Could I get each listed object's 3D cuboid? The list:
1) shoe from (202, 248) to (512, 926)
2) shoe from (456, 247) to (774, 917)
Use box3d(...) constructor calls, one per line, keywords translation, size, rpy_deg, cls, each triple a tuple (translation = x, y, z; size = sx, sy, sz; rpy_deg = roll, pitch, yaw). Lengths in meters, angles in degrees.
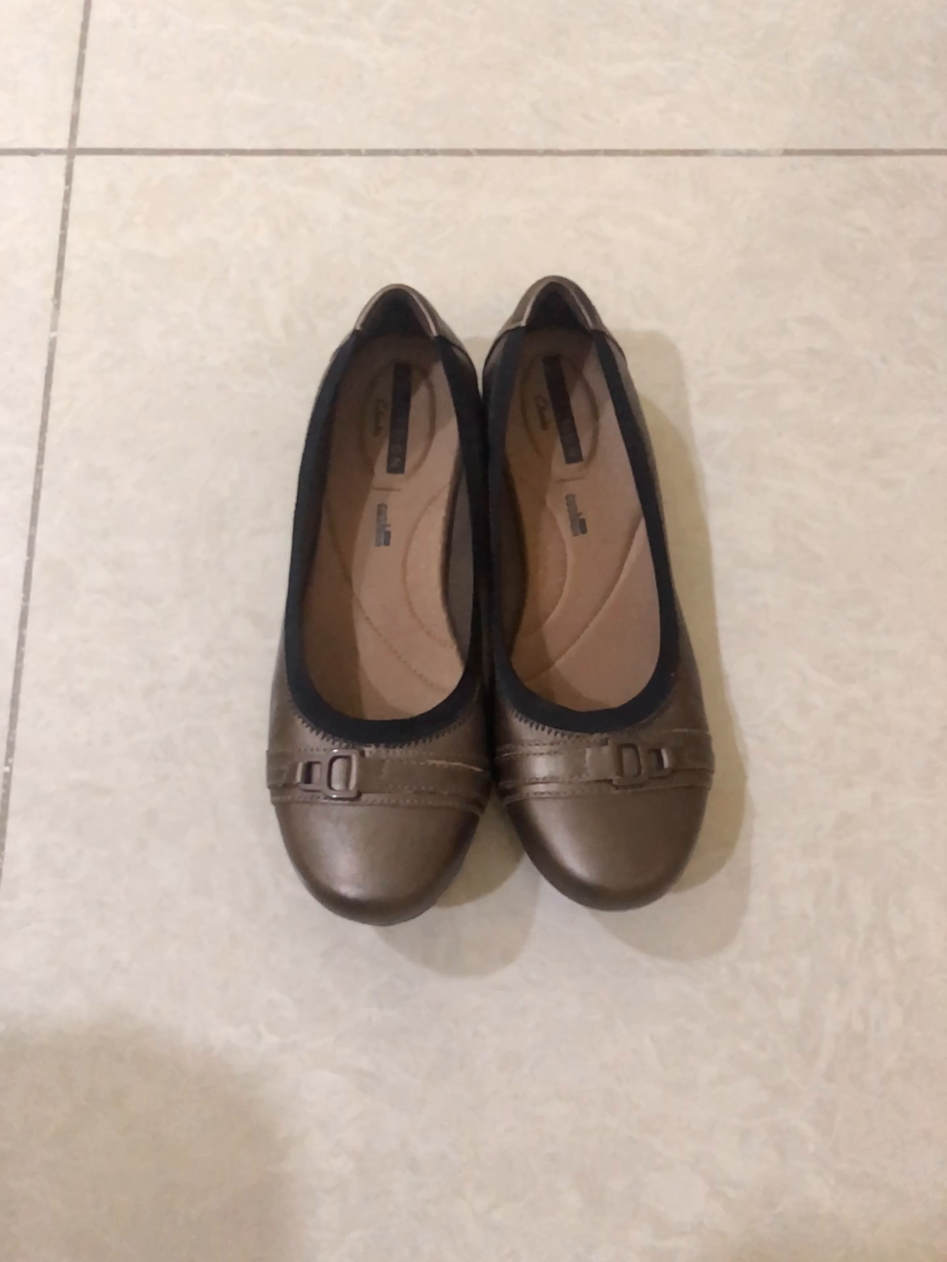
box3d(translation=(-0.039, -0.022, 0.430), size=(0.100, 0.050, 0.270), rpy_deg=(2, 73, 0), cls="shoe")
box3d(translation=(0.048, -0.022, 0.433), size=(0.090, 0.070, 0.260), rpy_deg=(-4, 74, -2), cls="shoe")
